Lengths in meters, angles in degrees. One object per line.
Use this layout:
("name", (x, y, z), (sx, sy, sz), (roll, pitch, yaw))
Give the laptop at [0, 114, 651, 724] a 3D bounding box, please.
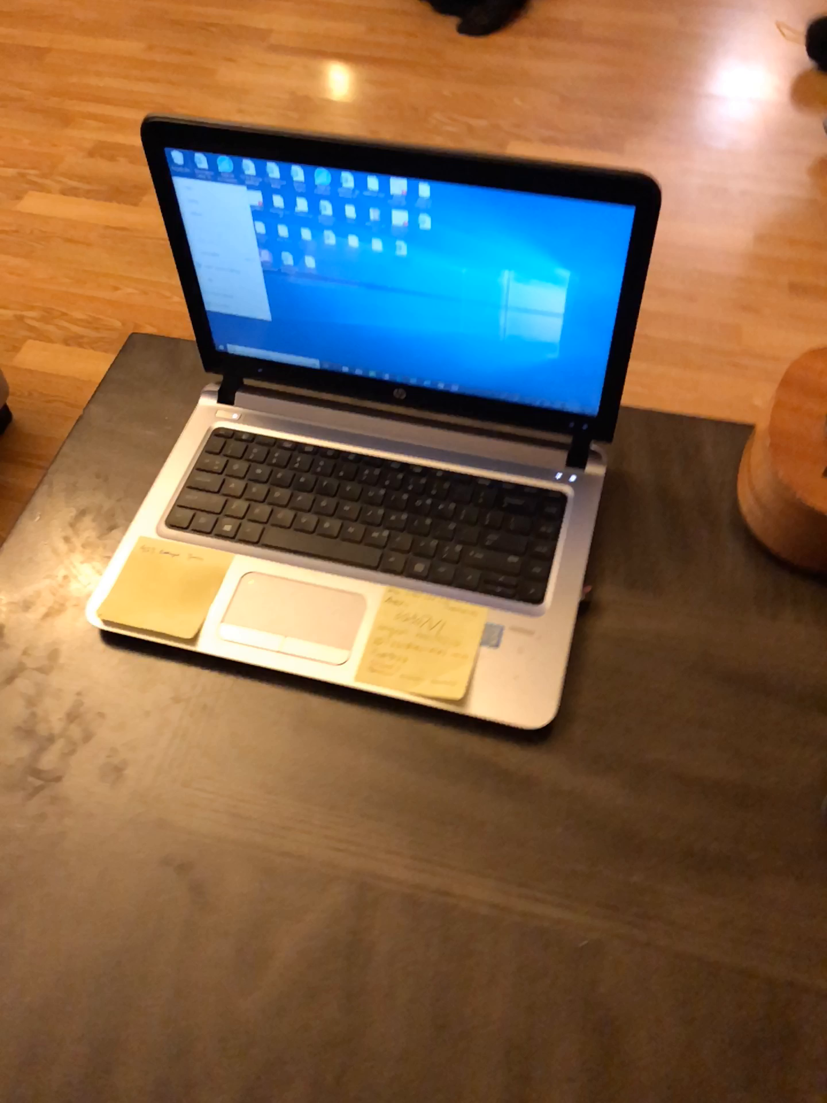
("laptop", (-0.043, -0.084, 0.575), (0.317, 0.217, 0.247), (11, 58, 10))
